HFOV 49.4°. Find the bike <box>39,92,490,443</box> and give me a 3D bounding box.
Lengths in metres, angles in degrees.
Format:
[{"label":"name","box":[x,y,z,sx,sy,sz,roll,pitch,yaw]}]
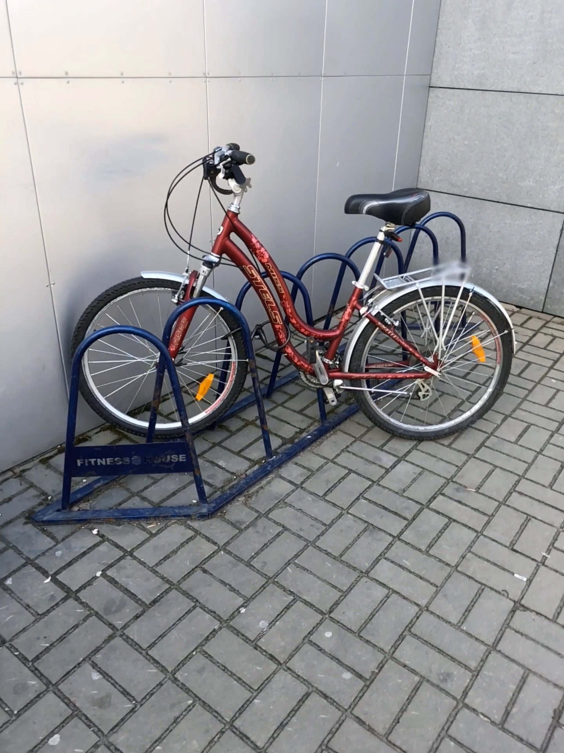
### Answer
[{"label":"bike","box":[-0.082,-0.397,2.248,1.304,0.972,0.599,4,27,-4]}]
